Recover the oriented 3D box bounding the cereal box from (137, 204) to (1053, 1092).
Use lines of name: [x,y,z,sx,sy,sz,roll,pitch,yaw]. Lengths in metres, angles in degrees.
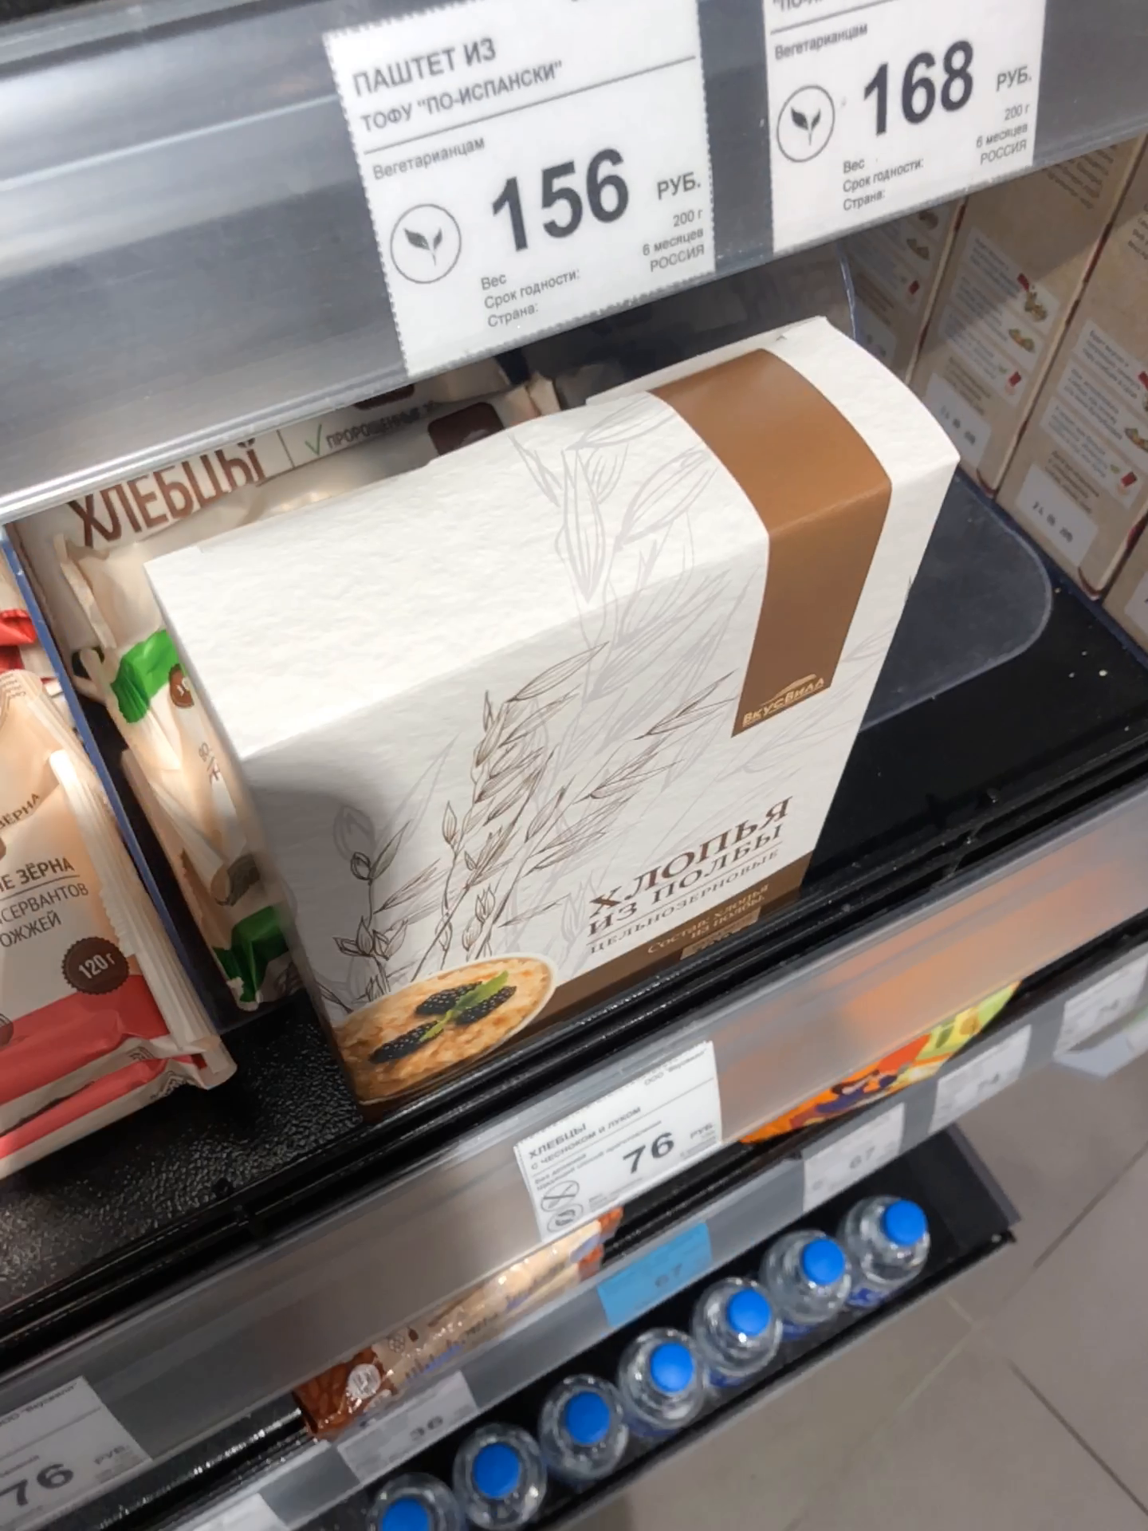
cereal box: [0.005,-0.011,0.296,0.150,0.189,0.050,-24,61,-16]
